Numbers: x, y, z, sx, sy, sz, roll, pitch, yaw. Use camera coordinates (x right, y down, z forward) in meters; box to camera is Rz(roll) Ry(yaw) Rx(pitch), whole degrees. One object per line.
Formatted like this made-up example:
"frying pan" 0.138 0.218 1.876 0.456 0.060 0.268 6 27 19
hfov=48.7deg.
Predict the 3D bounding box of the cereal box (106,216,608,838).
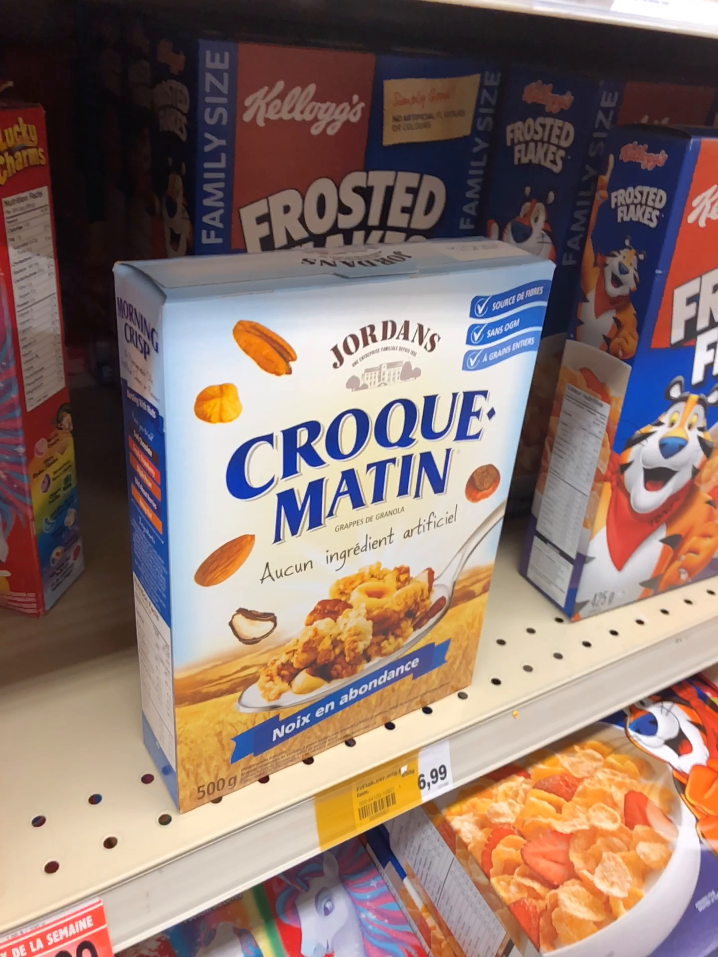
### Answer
"cereal box" -0.002 0.020 0.370 0.201 0.258 0.050 -14 36 -32
